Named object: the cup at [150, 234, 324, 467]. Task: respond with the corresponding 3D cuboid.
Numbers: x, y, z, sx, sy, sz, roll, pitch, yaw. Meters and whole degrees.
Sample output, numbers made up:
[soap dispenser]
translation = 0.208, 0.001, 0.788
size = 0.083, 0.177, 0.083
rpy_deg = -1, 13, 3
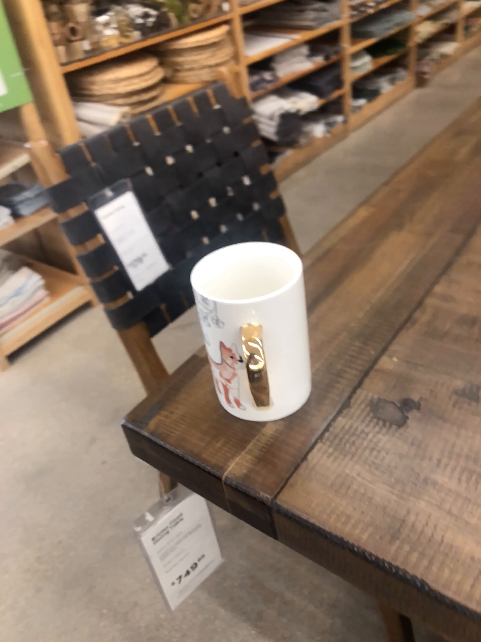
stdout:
[cup]
translation = 0.008, 0.020, 0.389
size = 0.097, 0.115, 0.120
rpy_deg = -2, 36, 9
